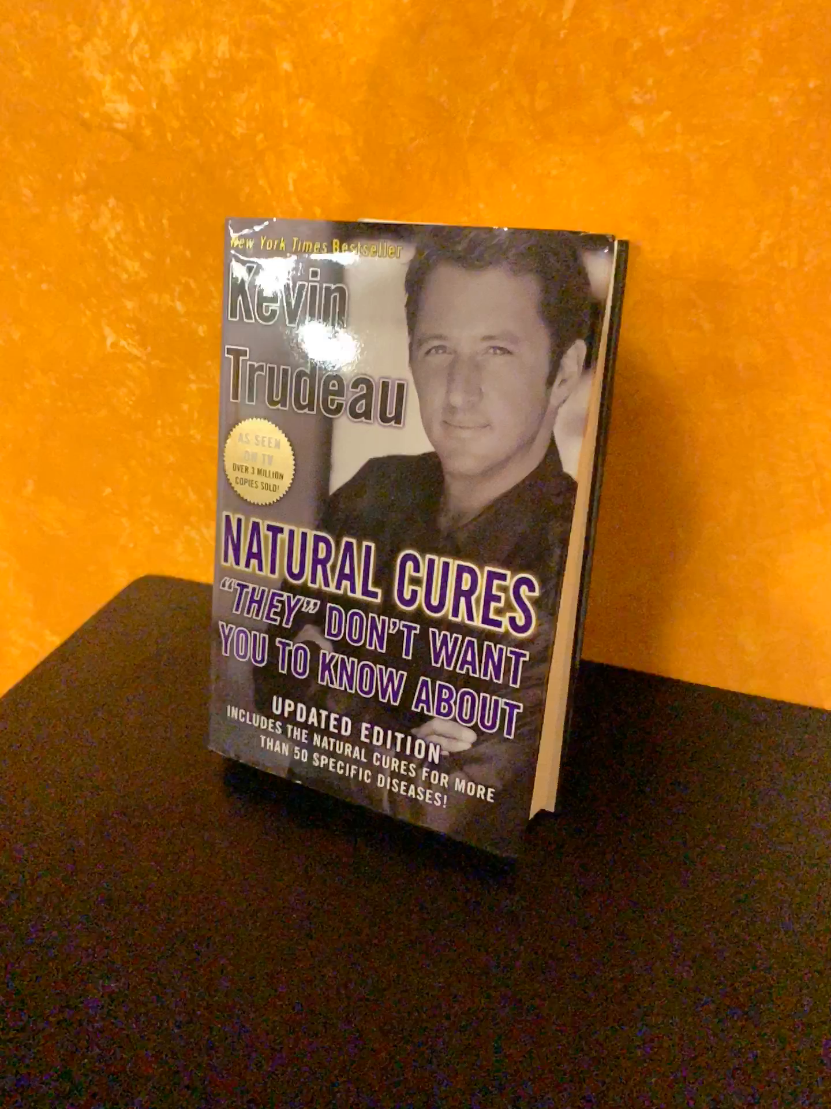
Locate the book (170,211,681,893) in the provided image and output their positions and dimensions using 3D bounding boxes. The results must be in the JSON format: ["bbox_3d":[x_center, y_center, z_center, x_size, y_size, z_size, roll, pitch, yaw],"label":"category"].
[{"bbox_3d":[-0.008,-0.010,0.345,0.180,0.229,0.050,12,15,25],"label":"book"}]
